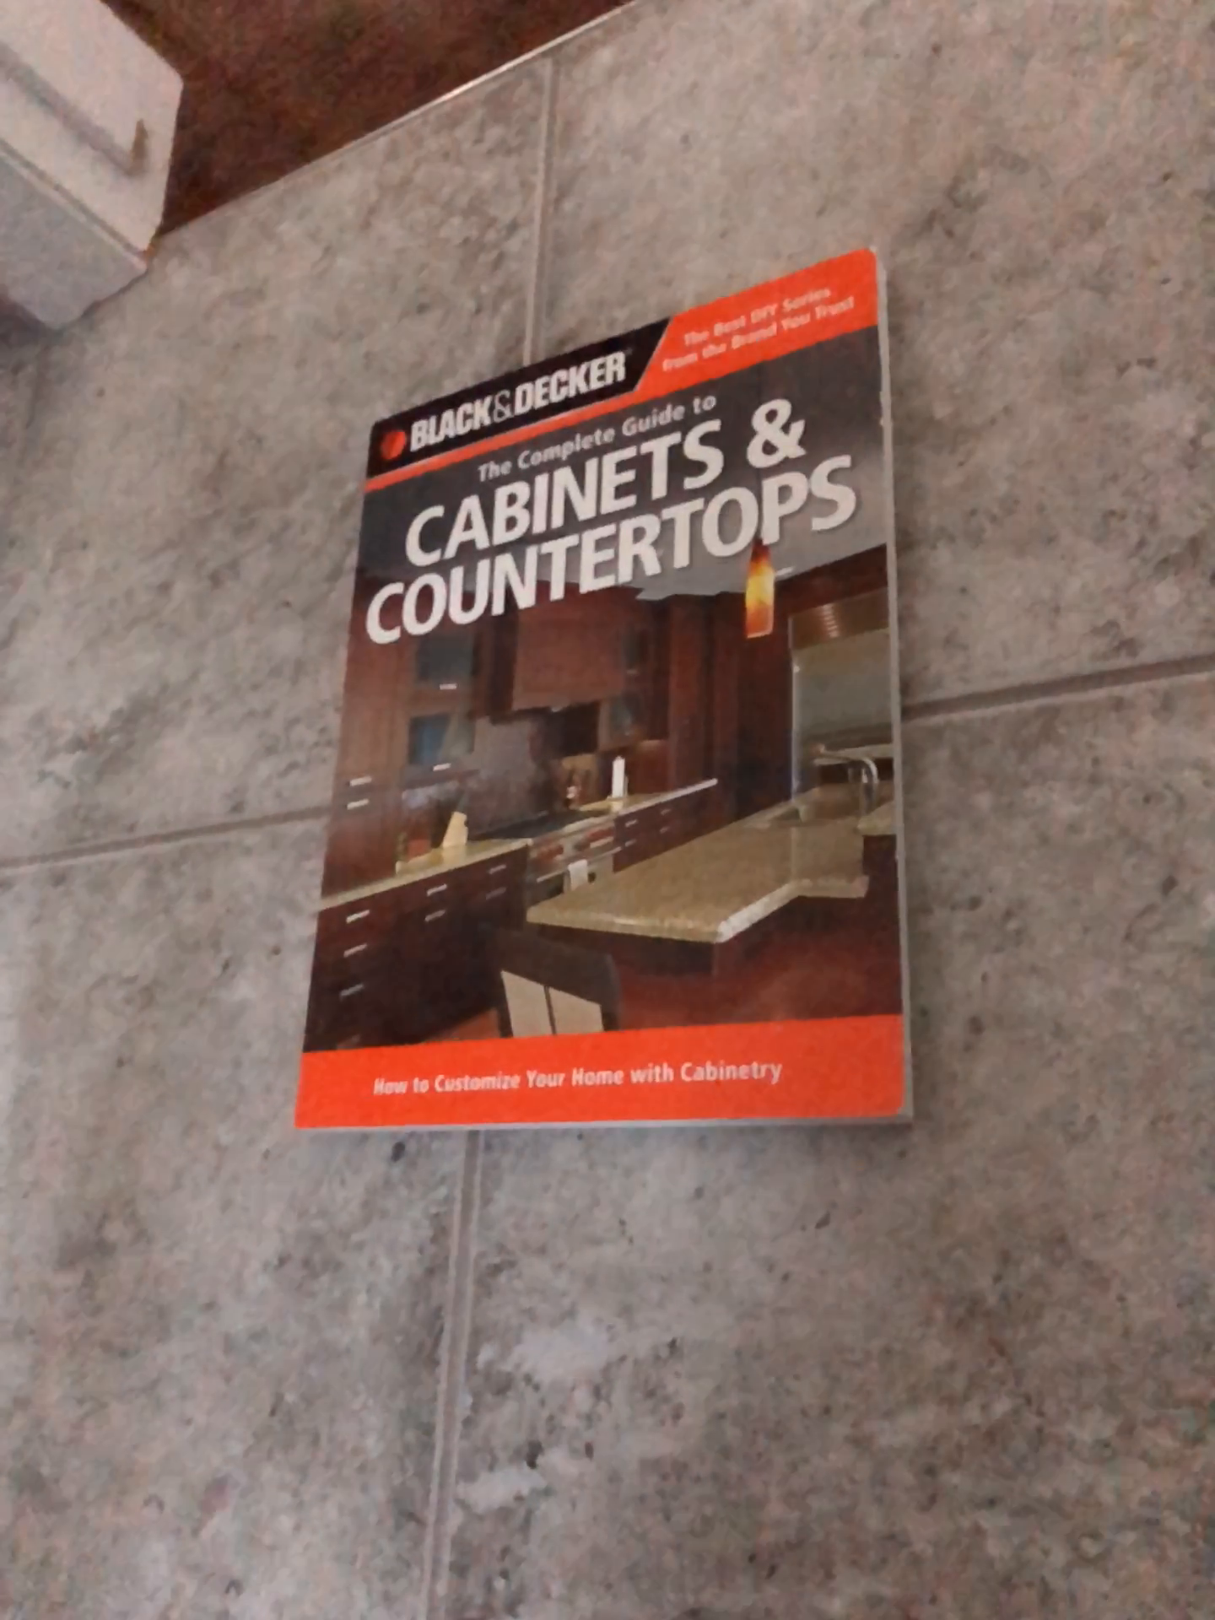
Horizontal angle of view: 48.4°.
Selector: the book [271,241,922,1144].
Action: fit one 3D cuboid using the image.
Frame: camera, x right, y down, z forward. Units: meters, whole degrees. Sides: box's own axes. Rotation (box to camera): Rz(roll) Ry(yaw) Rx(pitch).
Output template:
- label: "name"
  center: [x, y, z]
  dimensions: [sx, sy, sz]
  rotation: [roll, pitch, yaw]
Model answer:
- label: "book"
  center: [-0.007, -0.034, 0.452]
  dimensions: [0.216, 0.022, 0.281]
  rotation: [-9, 68, 30]
